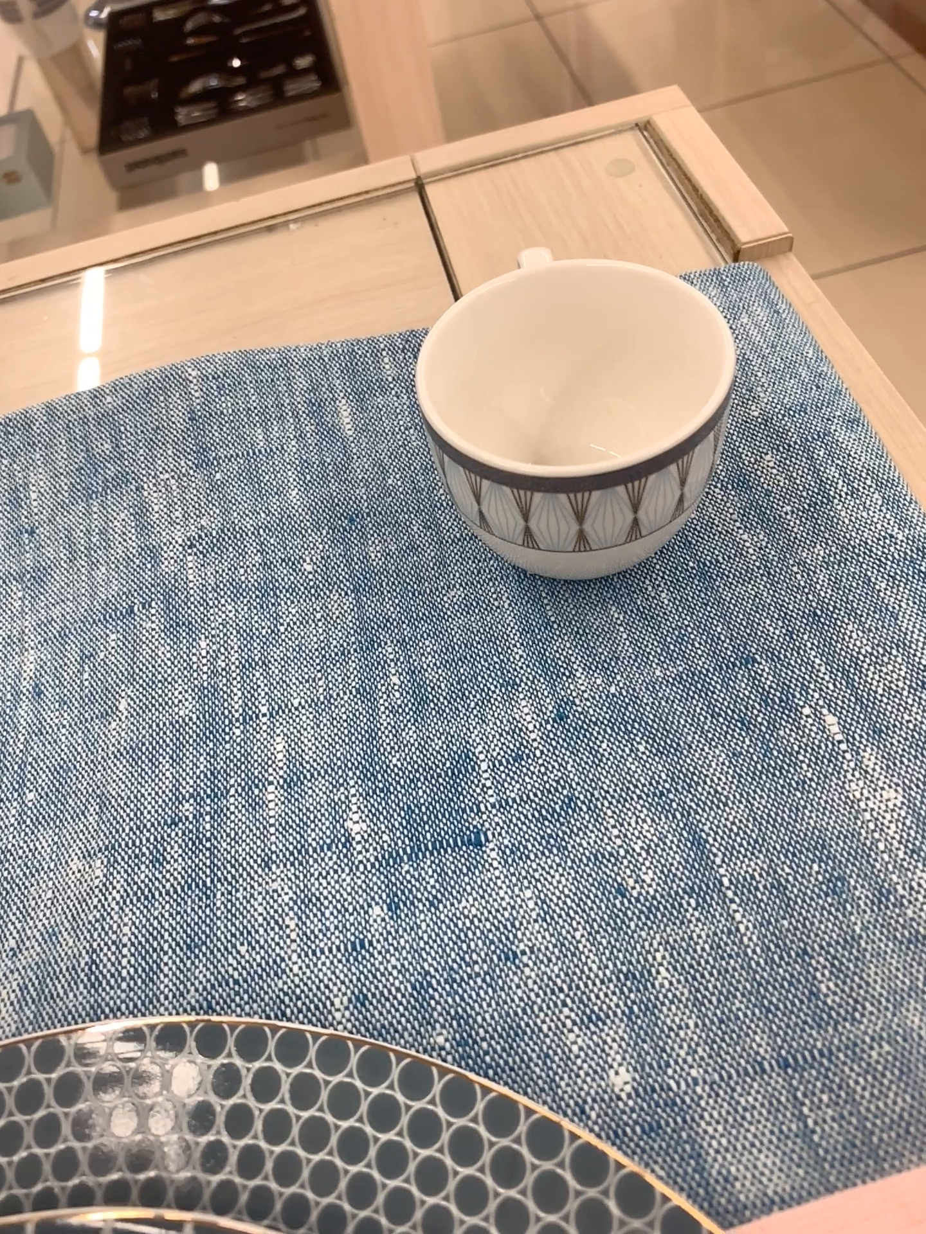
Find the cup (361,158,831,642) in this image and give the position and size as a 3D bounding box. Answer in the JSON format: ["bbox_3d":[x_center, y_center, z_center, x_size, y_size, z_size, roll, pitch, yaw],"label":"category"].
[{"bbox_3d":[0.024,-0.051,0.212,0.070,0.040,0.090,-17,53,-1],"label":"cup"}]
